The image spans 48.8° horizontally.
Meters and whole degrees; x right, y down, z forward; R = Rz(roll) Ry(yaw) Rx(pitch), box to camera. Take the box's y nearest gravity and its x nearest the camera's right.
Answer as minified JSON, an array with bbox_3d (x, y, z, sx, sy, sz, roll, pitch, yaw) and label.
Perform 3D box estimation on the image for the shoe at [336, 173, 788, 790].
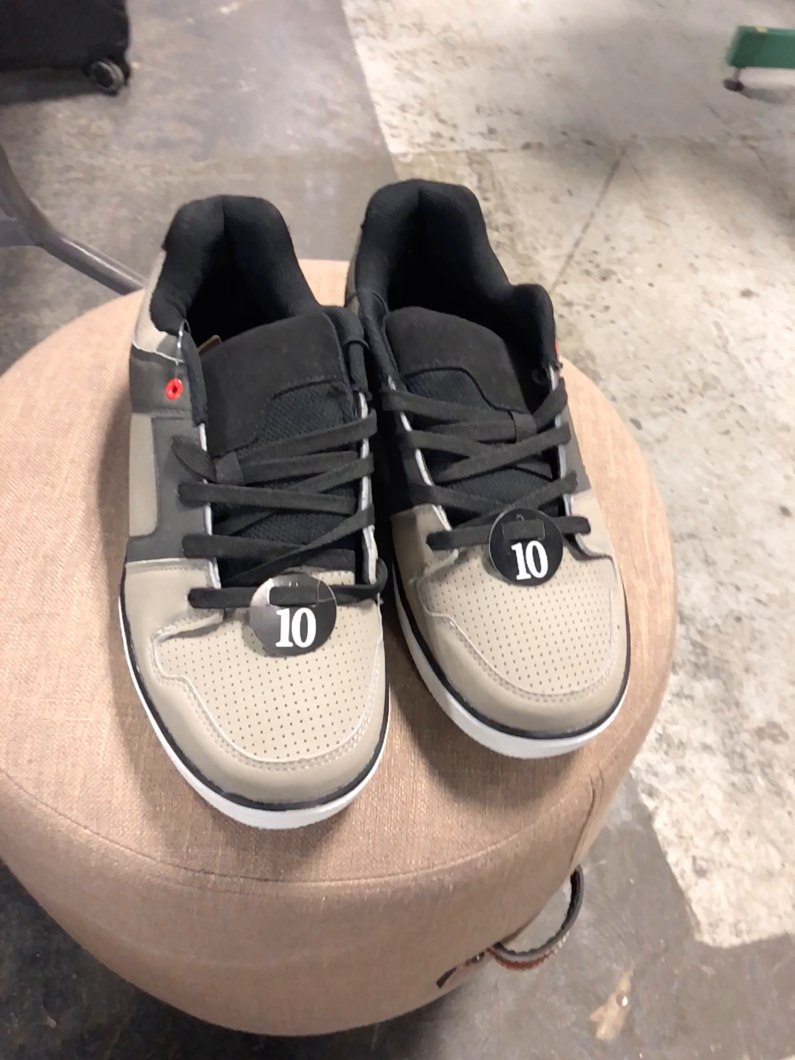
[{"bbox_3d":[0.049,-0.041,0.405,0.110,0.089,0.282,-6,55,-10],"label":"shoe"}]

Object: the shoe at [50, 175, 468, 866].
[{"bbox_3d":[-0.068,-0.025,0.369,0.120,0.089,0.282,-6,55,-10],"label":"shoe"}]
